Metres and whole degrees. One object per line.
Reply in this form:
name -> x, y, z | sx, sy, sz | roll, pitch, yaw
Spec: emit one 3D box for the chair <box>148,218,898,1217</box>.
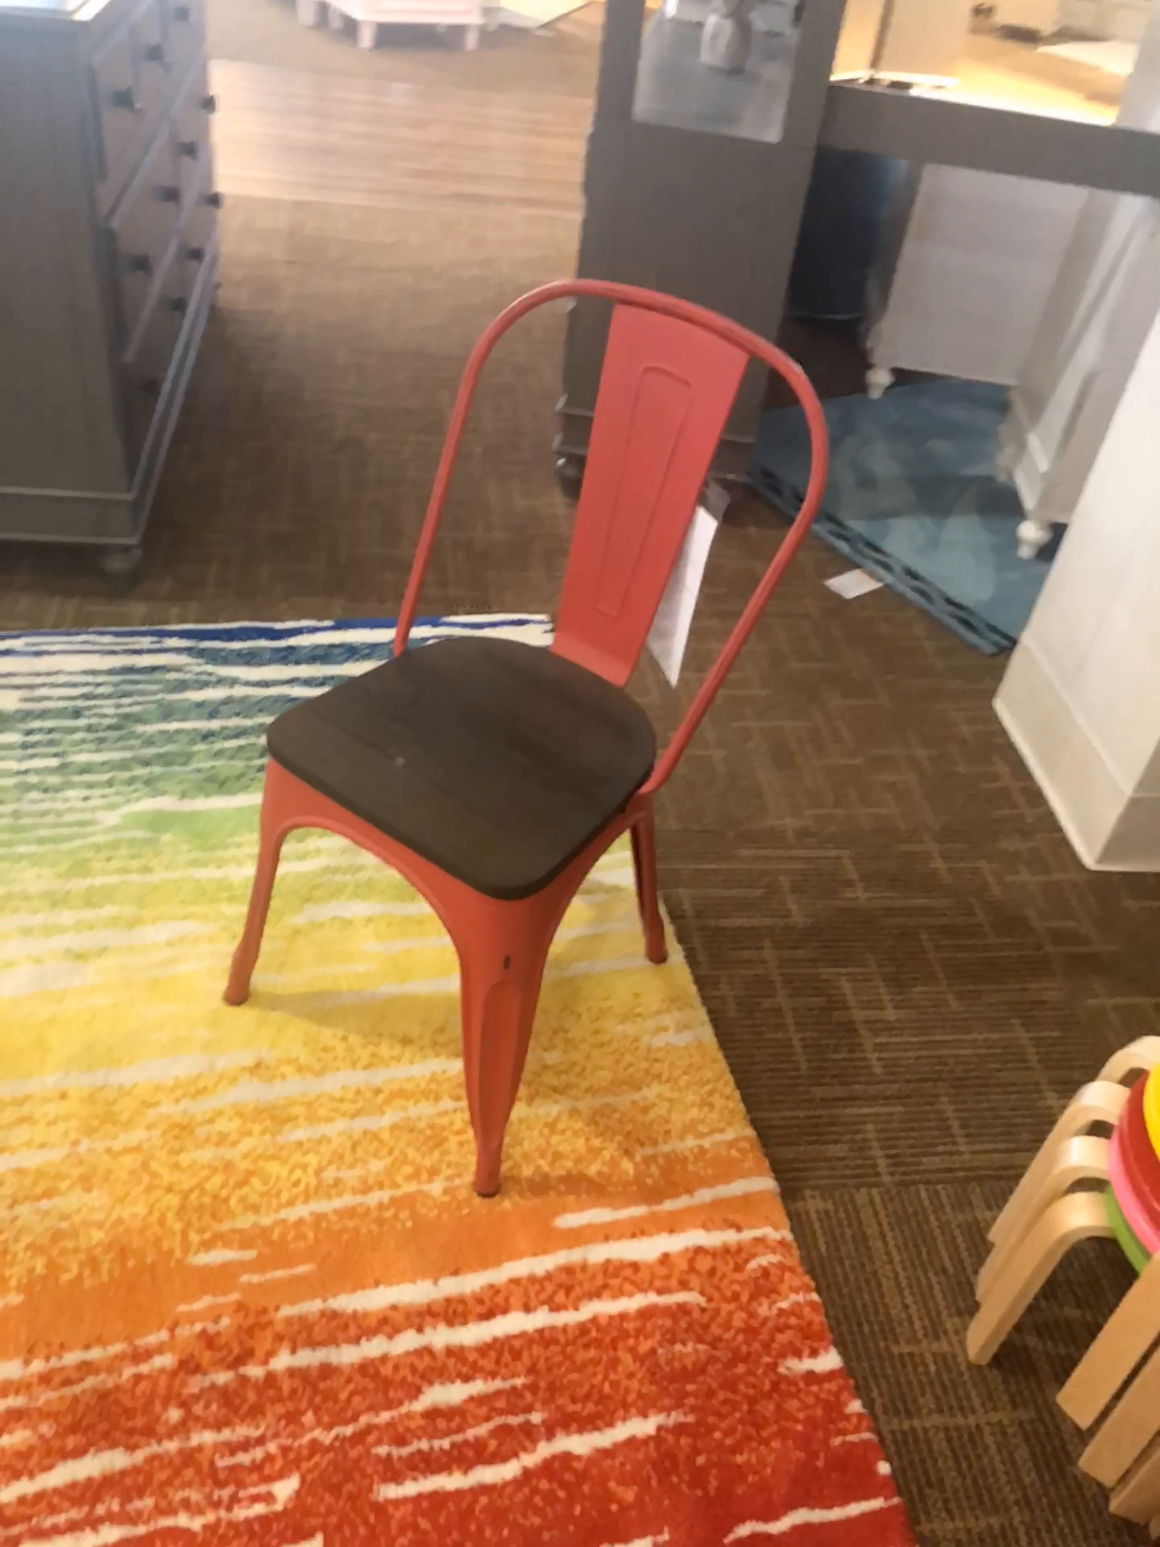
chair -> -0.083, -0.056, 1.377 | 0.451, 0.855, 0.492 | 31, 43, 24
